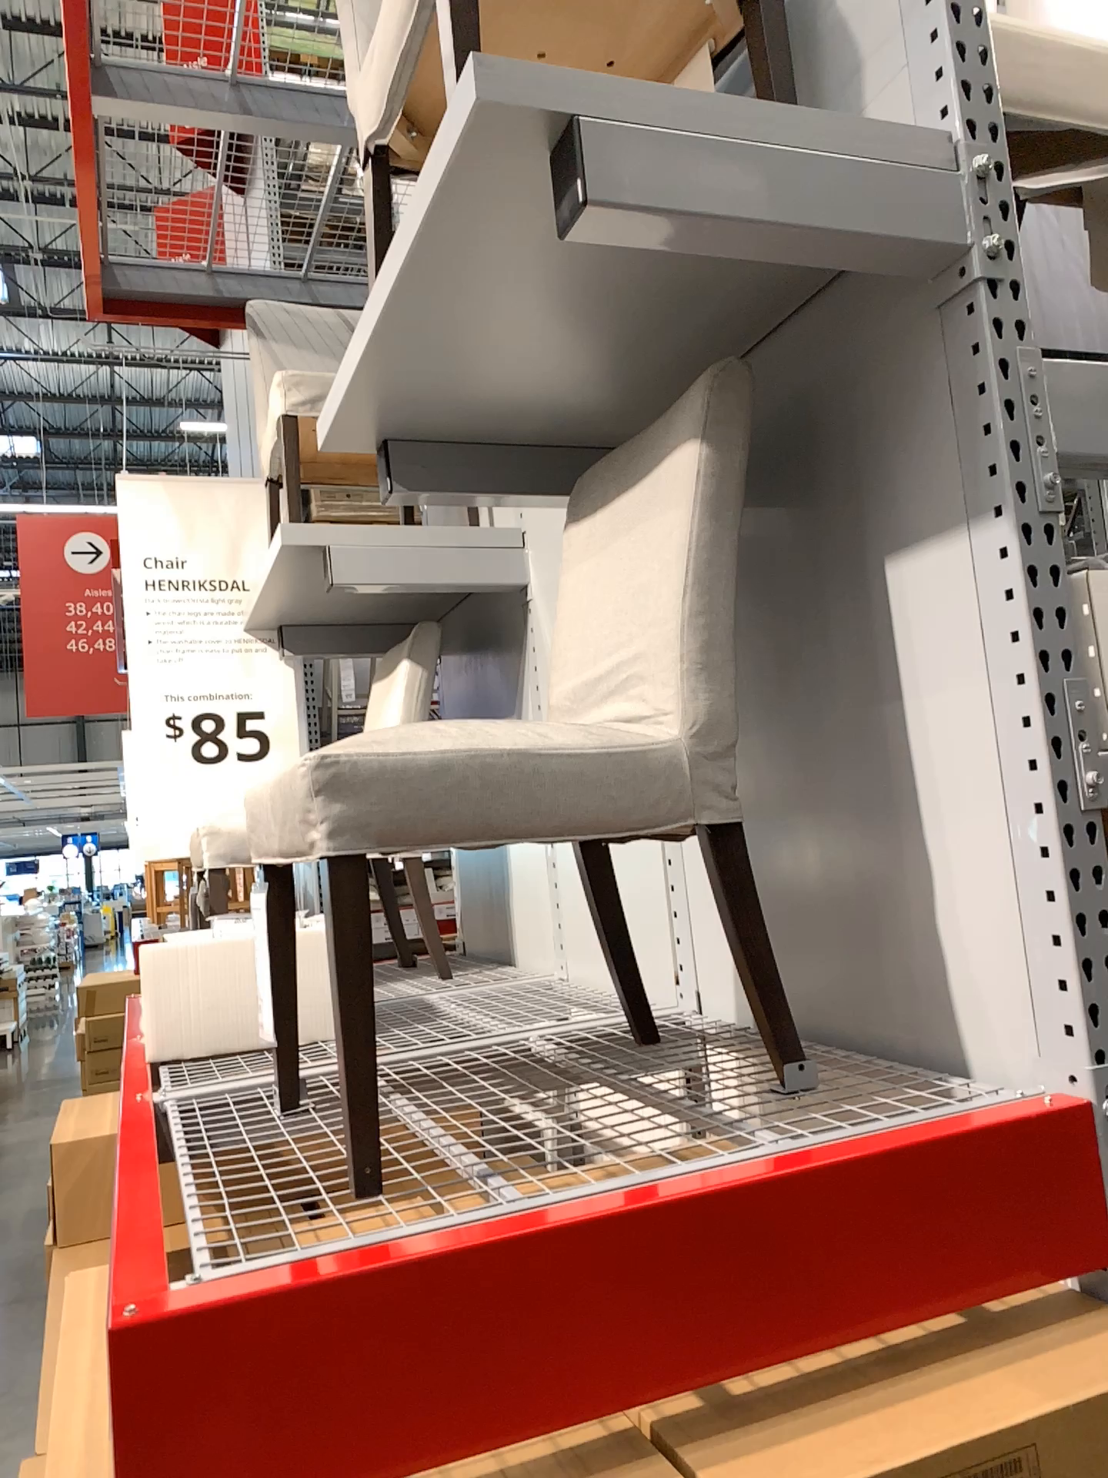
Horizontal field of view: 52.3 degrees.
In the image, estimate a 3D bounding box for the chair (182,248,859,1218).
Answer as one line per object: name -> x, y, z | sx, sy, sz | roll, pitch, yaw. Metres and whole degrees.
chair -> -0.097, -0.012, 1.518 | 0.670, 0.981, 0.560 | -3, -6, -23
